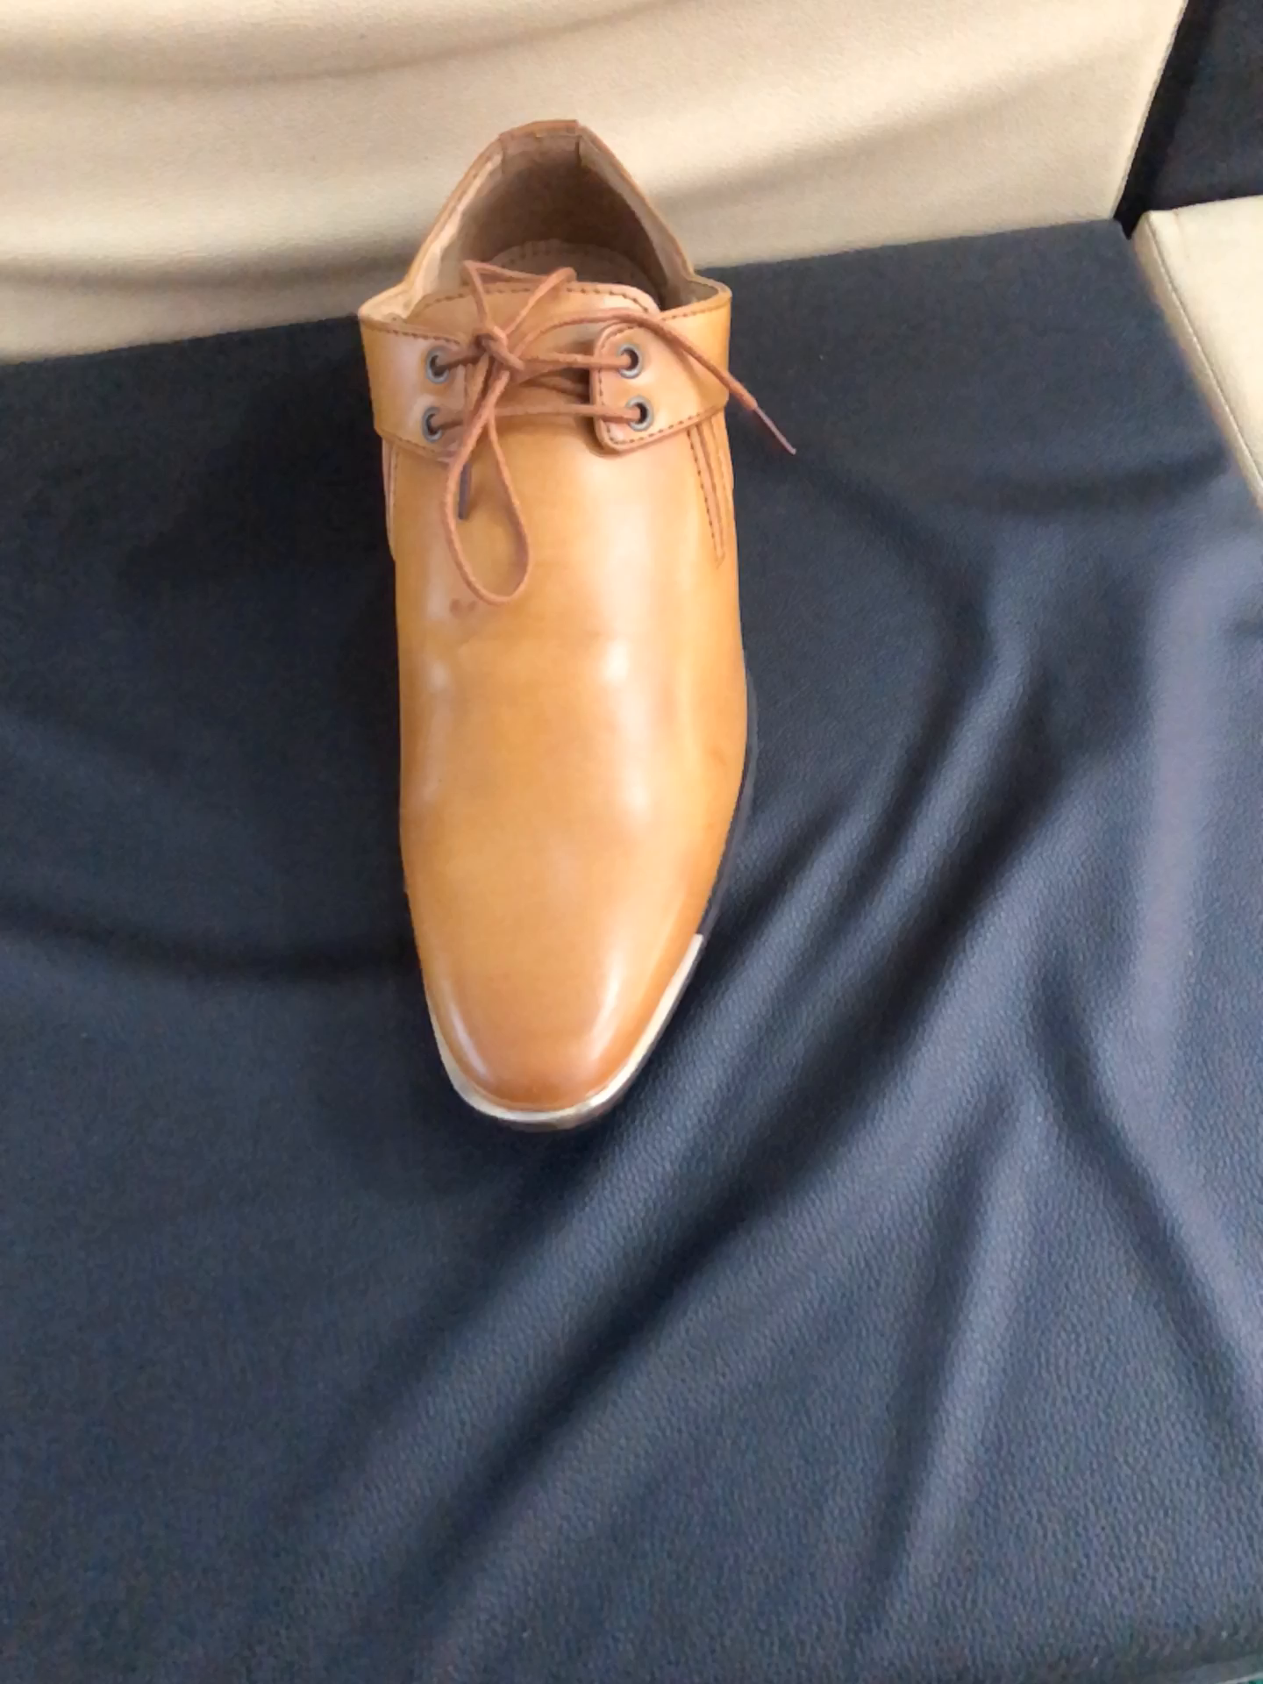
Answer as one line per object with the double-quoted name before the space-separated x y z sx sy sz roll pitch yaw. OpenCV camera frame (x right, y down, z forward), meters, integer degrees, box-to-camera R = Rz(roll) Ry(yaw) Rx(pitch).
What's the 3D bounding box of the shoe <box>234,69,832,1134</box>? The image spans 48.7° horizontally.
"shoe" -0.017 -0.070 0.353 0.110 0.080 0.271 -1 63 1
